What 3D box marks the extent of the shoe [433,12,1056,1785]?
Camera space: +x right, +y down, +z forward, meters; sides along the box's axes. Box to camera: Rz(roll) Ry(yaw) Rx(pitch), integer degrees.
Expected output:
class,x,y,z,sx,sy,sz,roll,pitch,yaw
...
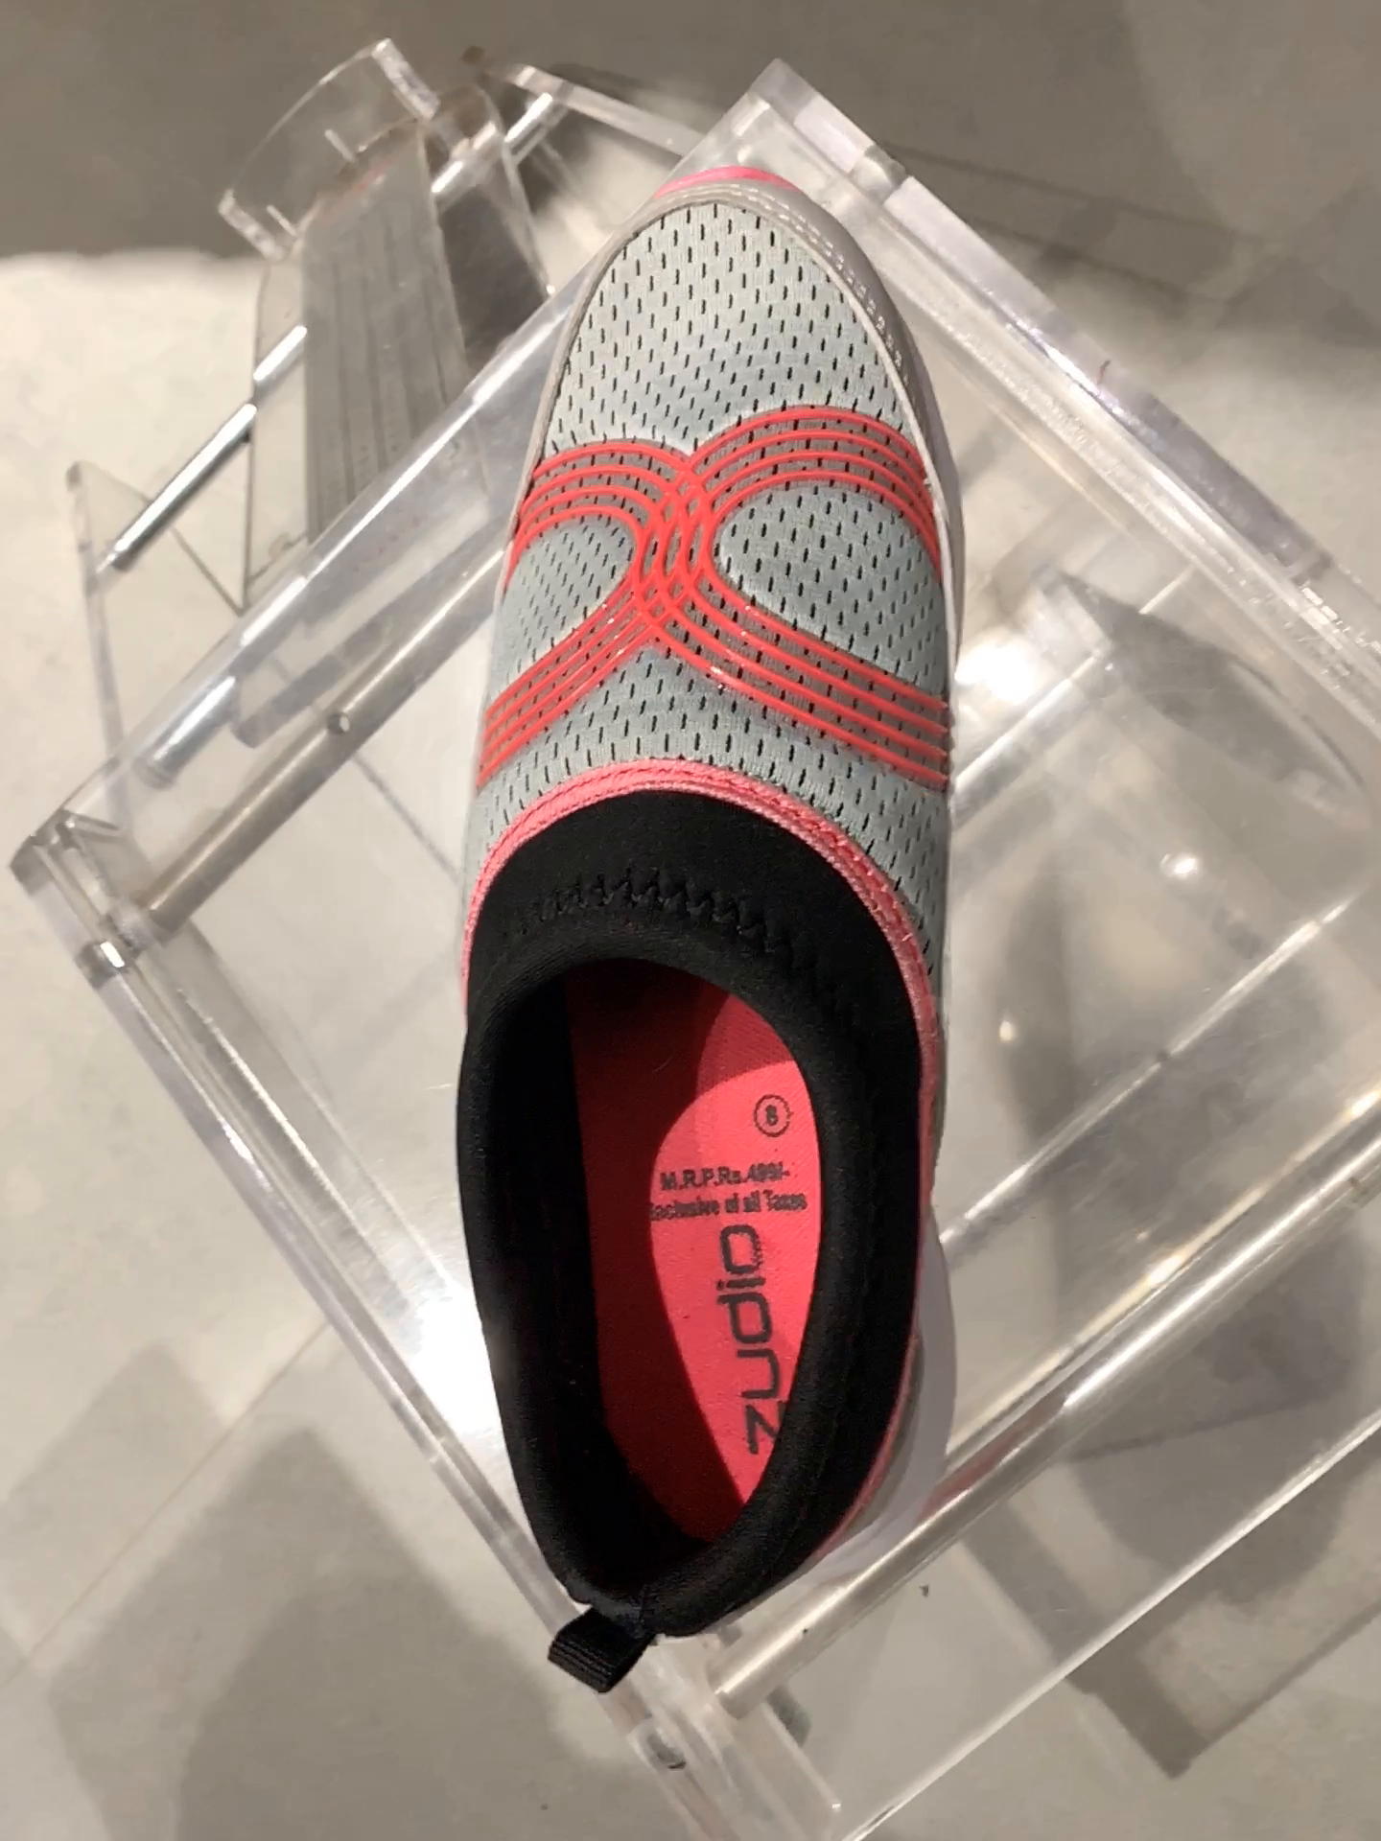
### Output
class,x,y,z,sx,sy,sz,roll,pitch,yaw
shoe,0.013,-0.007,0.291,0.100,0.080,0.300,-4,84,15
